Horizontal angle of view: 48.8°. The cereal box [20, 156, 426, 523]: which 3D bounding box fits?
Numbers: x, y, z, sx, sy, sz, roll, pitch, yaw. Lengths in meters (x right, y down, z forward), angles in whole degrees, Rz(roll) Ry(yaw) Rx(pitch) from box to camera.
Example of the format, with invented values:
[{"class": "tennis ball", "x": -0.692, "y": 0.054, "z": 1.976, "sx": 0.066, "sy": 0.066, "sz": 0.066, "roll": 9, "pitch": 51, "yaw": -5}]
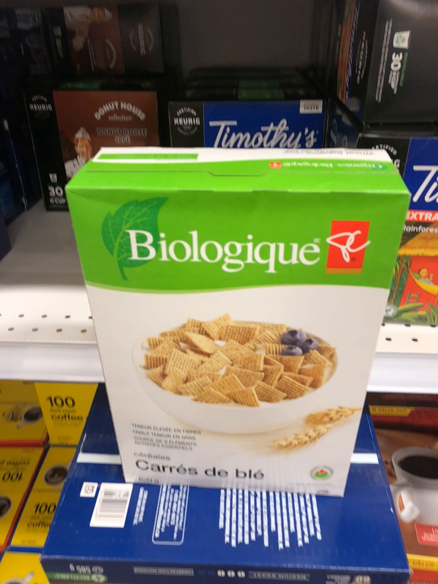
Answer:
[{"class": "cereal box", "x": 0.004, "y": 0.053, "z": 0.362, "sx": 0.210, "sy": 0.289, "sz": 0.070, "roll": 3, "pitch": 36, "yaw": 6}]
